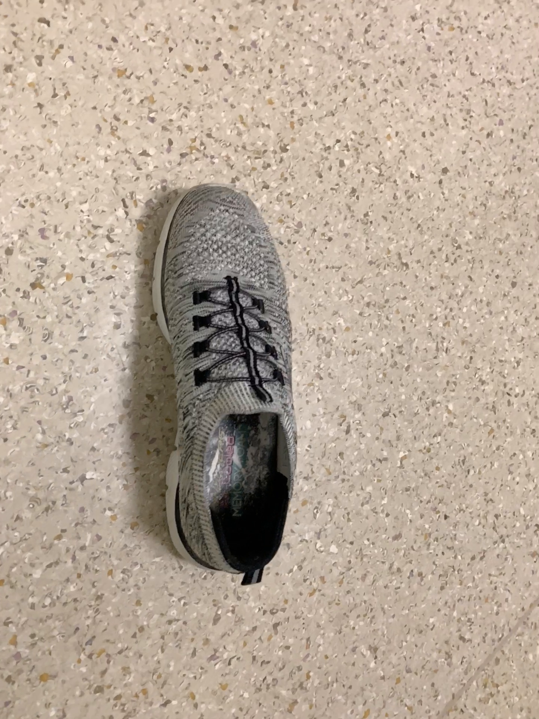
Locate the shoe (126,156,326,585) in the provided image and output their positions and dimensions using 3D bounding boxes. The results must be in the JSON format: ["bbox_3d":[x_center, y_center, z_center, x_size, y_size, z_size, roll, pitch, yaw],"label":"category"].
[{"bbox_3d":[-0.032,0.008,0.372,0.094,0.093,0.241,4,87,-26],"label":"shoe"}]
